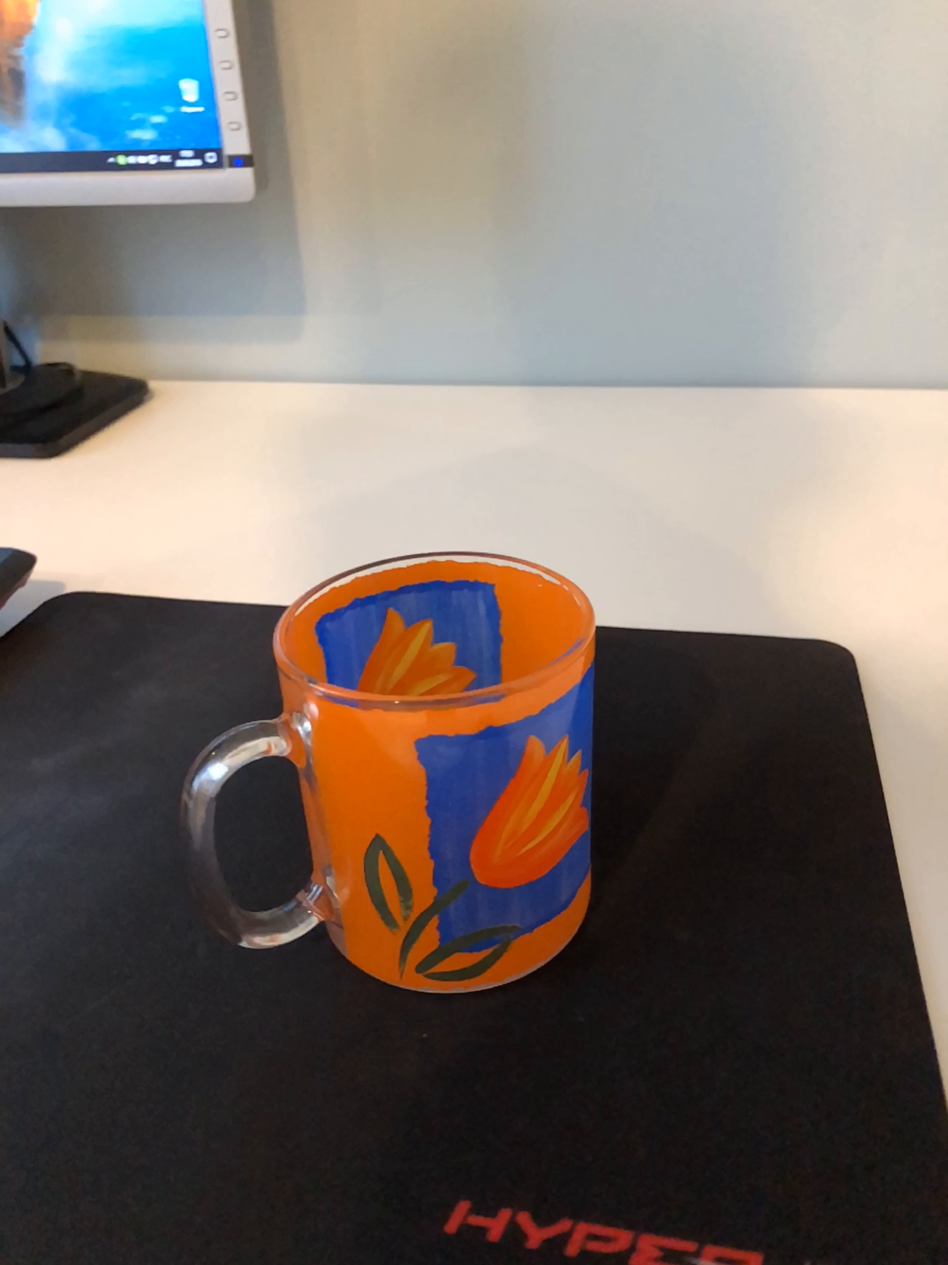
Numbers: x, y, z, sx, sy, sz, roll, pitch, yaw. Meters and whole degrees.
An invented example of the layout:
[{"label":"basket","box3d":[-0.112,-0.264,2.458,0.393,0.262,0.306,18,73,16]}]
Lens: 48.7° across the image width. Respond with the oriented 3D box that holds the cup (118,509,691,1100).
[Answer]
[{"label":"cup","box3d":[-0.016,0.035,0.268,0.114,0.089,0.076,-18,32,-26]}]
